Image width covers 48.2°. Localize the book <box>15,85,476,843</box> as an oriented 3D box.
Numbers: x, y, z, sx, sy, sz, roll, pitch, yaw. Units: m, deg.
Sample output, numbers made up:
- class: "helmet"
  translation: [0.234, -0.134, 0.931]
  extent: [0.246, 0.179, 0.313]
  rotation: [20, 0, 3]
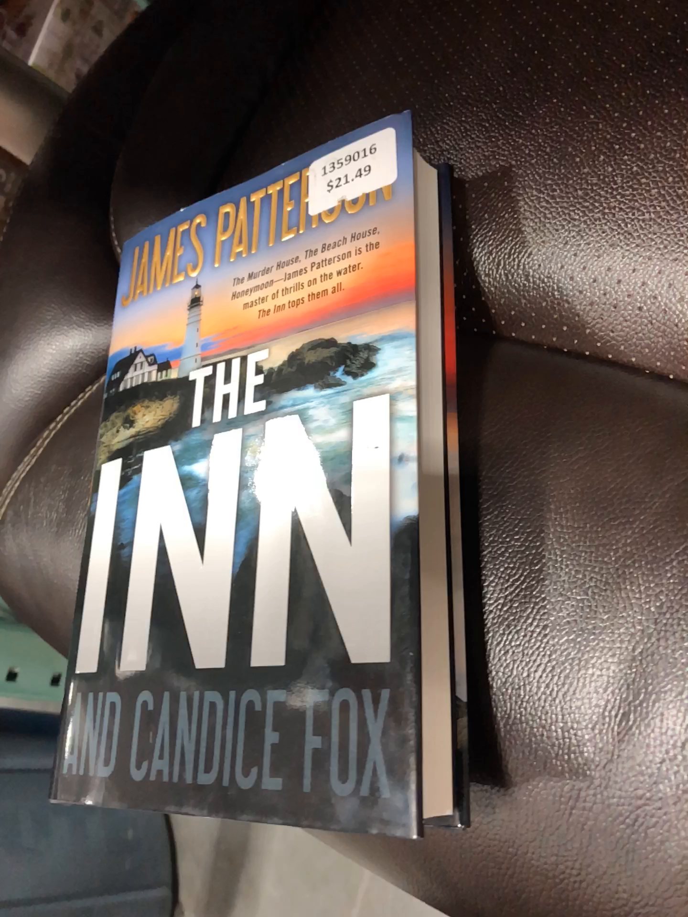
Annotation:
- class: "book"
  translation: [-0.040, 0.002, 0.300]
  extent: [0.171, 0.040, 0.250]
  rotation: [-12, 66, 33]
